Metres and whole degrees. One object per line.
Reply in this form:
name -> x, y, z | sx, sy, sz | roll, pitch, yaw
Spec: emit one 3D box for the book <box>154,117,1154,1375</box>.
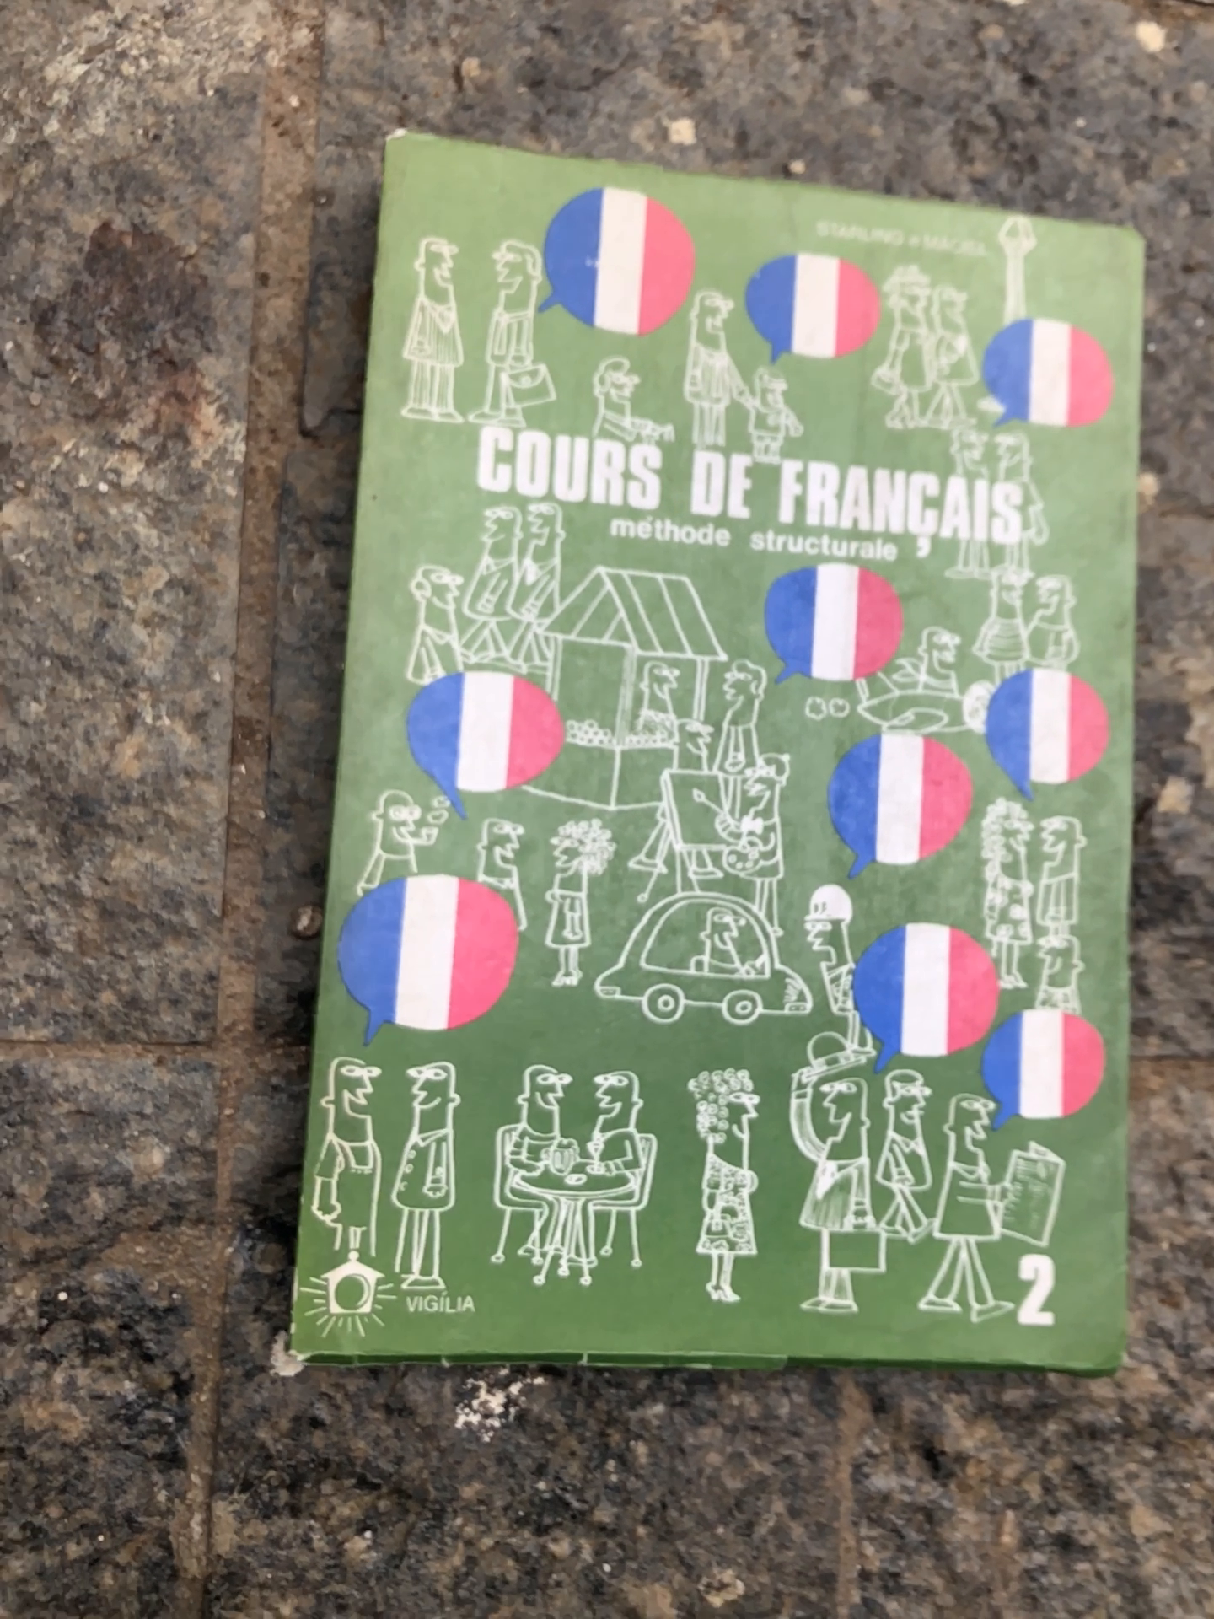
book -> 0.015, -0.011, 0.246 | 0.167, 0.013, 0.211 | 4, 84, -7
